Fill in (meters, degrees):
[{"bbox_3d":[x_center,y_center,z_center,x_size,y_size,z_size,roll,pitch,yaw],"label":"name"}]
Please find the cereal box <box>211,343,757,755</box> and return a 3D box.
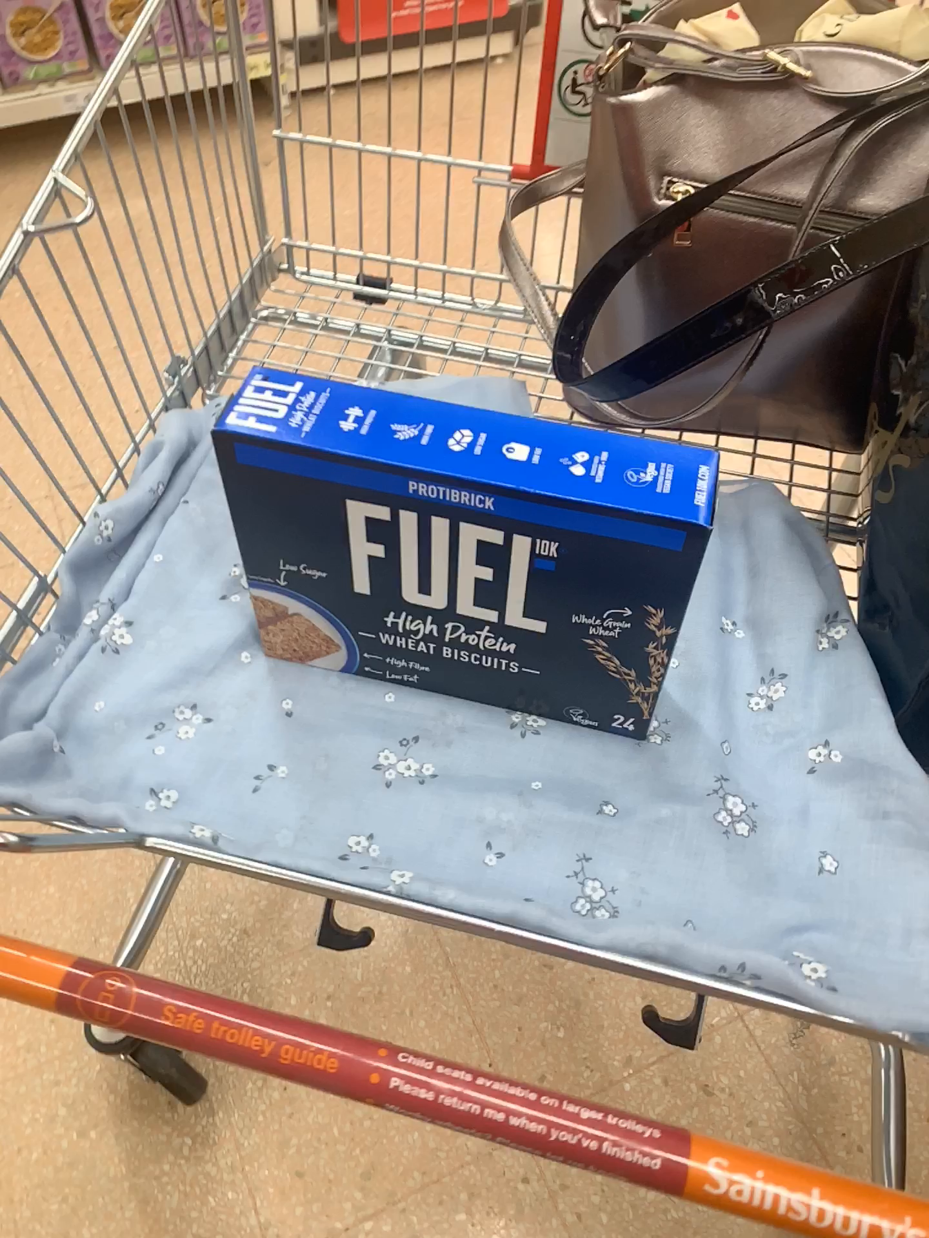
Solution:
[{"bbox_3d":[0.006,-0.028,0.529,0.250,0.208,0.060,13,54,7],"label":"cereal box"}]
